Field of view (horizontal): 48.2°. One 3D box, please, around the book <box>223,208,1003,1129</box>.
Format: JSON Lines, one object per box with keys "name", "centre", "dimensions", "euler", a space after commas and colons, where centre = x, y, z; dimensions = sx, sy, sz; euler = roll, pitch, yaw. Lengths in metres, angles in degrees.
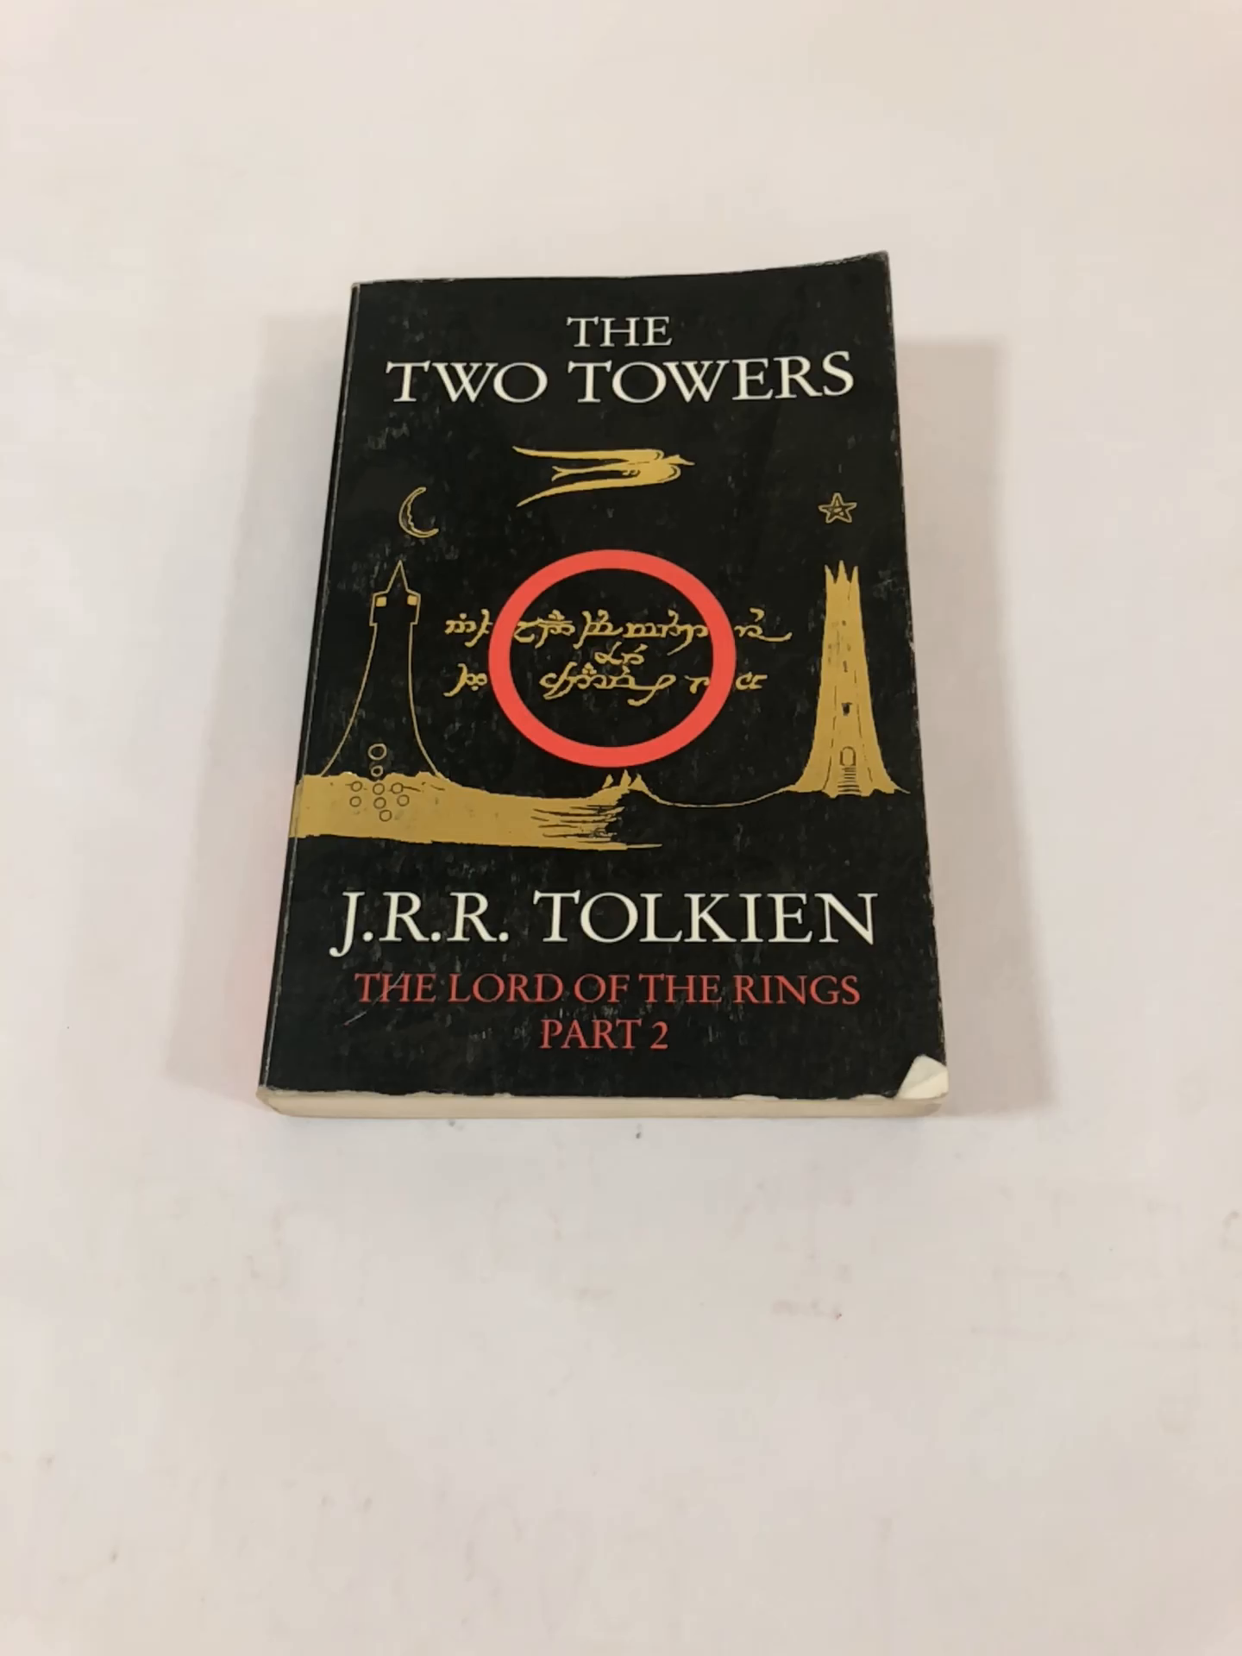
{"name": "book", "centre": [-0.001, -0.042, 0.286], "dimensions": [0.130, 0.030, 0.200], "euler": [0, 66, 0]}
